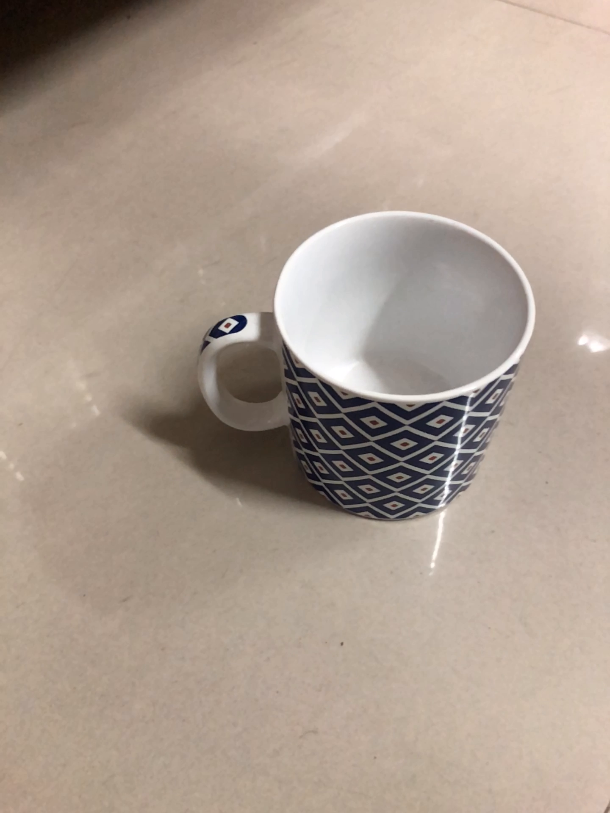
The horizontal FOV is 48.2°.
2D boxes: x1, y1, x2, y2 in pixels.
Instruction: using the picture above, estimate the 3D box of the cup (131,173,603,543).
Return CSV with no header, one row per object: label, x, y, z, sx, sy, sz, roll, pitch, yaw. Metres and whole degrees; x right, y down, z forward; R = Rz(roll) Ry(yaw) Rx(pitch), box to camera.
cup,0.015,-0.013,0.215,0.110,0.080,0.080,-2,54,1
